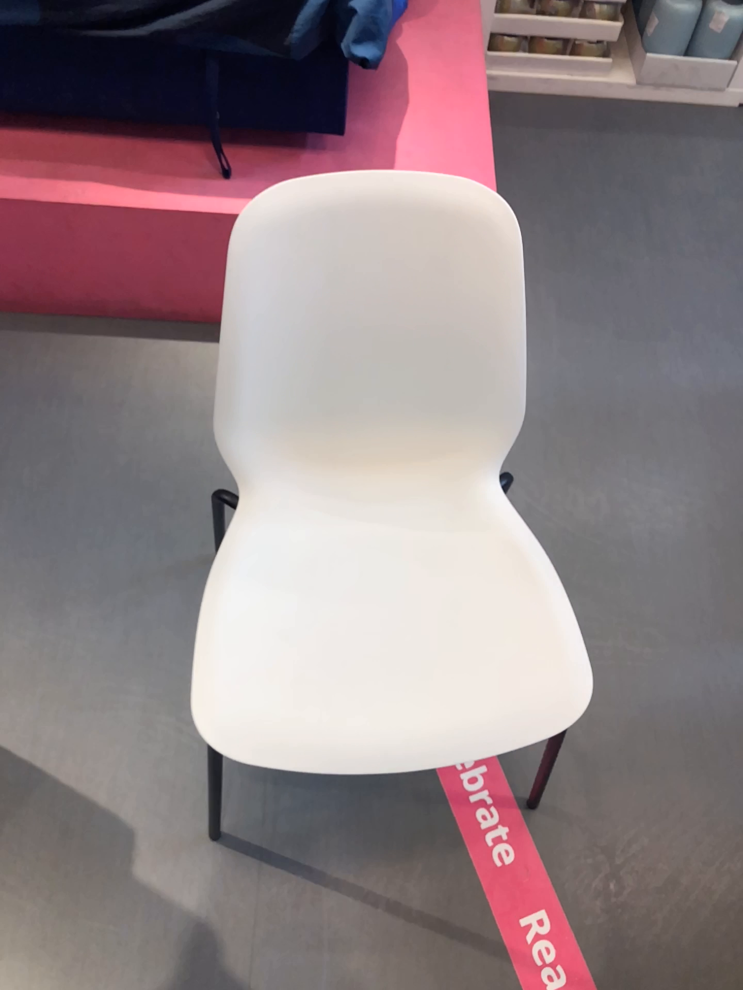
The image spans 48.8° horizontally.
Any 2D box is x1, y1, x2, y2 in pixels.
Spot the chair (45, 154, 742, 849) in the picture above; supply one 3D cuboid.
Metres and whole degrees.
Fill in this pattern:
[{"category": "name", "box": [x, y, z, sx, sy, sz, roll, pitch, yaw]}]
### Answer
[{"category": "chair", "box": [0.002, 0.080, 0.986, 0.510, 0.757, 0.492, -3, 59, -6]}]
